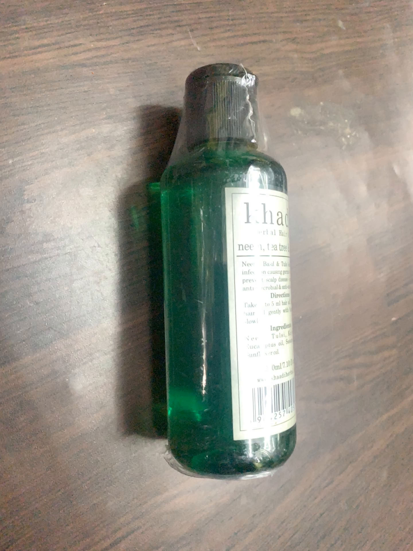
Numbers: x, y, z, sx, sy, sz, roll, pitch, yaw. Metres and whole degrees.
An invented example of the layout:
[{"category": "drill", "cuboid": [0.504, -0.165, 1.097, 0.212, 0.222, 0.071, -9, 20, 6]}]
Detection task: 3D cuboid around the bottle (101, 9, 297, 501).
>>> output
[{"category": "bottle", "cuboid": [-0.001, -0.006, 0.166, 0.050, 0.050, 0.150, -1, 88, -58]}]
